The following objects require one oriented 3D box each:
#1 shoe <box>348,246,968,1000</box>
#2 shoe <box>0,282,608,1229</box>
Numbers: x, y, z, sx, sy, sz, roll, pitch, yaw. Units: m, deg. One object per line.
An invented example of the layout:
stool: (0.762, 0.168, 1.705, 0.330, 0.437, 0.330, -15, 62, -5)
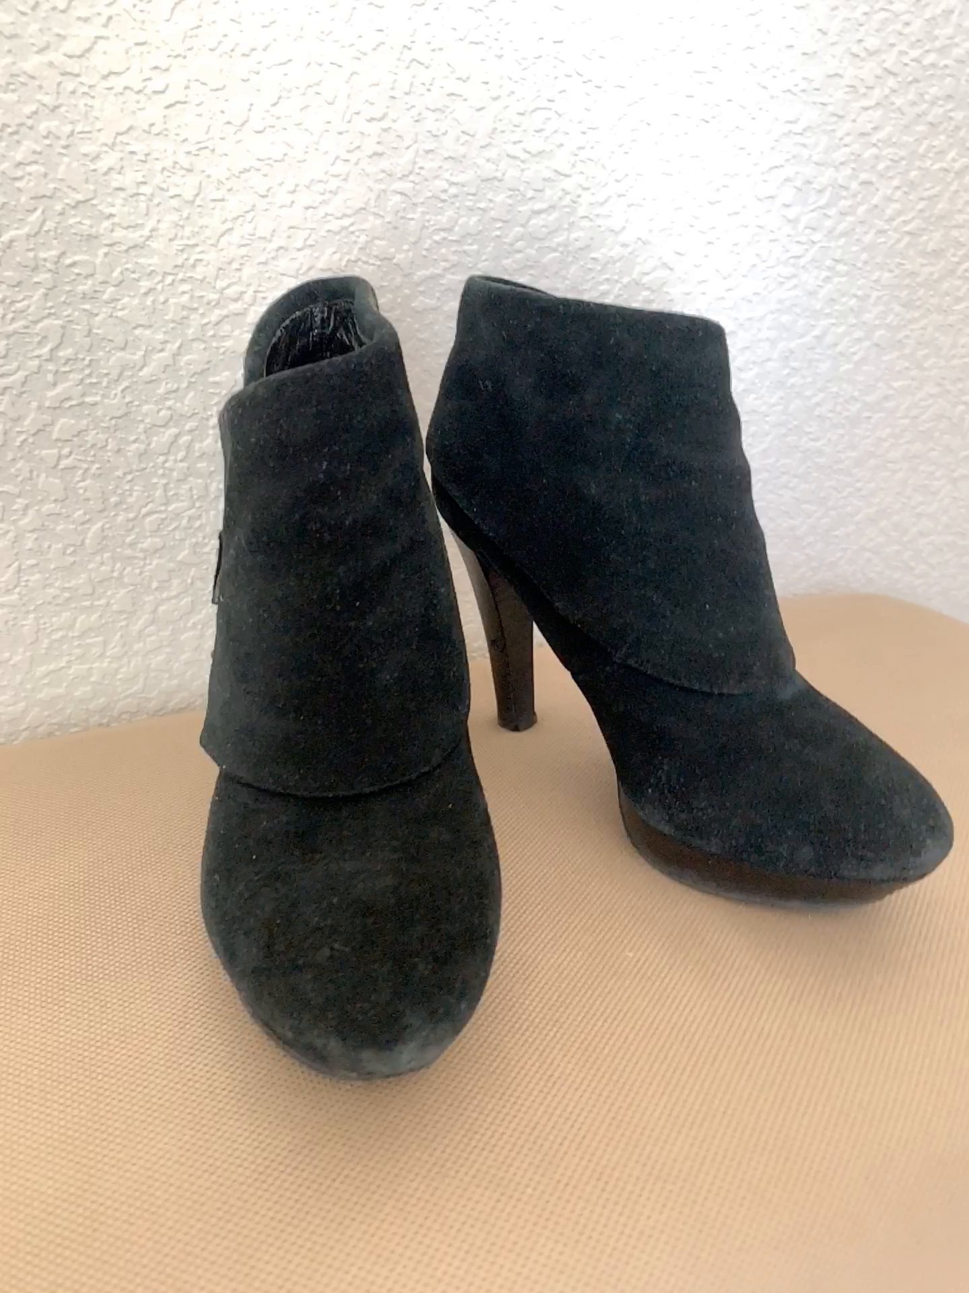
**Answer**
shoe: (0.059, -0.031, 0.328, 0.090, 0.166, 0.218, -21, 34, -37)
shoe: (-0.040, 0.000, 0.280, 0.090, 0.166, 0.218, -2, 27, -6)
